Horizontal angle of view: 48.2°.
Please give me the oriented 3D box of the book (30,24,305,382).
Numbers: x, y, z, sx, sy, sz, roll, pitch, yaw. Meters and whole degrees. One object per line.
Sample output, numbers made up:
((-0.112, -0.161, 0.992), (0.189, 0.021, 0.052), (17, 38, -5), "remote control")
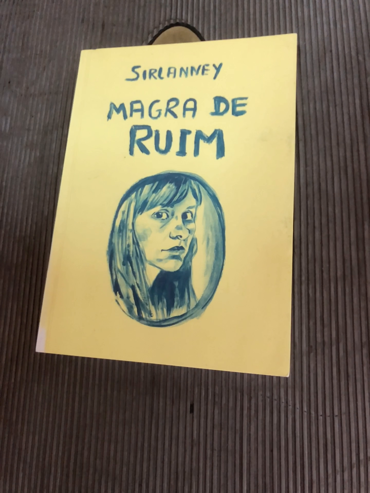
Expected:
((-0.007, -0.035, 0.258), (0.150, 0.020, 0.210), (3, 78, 13), "book")
